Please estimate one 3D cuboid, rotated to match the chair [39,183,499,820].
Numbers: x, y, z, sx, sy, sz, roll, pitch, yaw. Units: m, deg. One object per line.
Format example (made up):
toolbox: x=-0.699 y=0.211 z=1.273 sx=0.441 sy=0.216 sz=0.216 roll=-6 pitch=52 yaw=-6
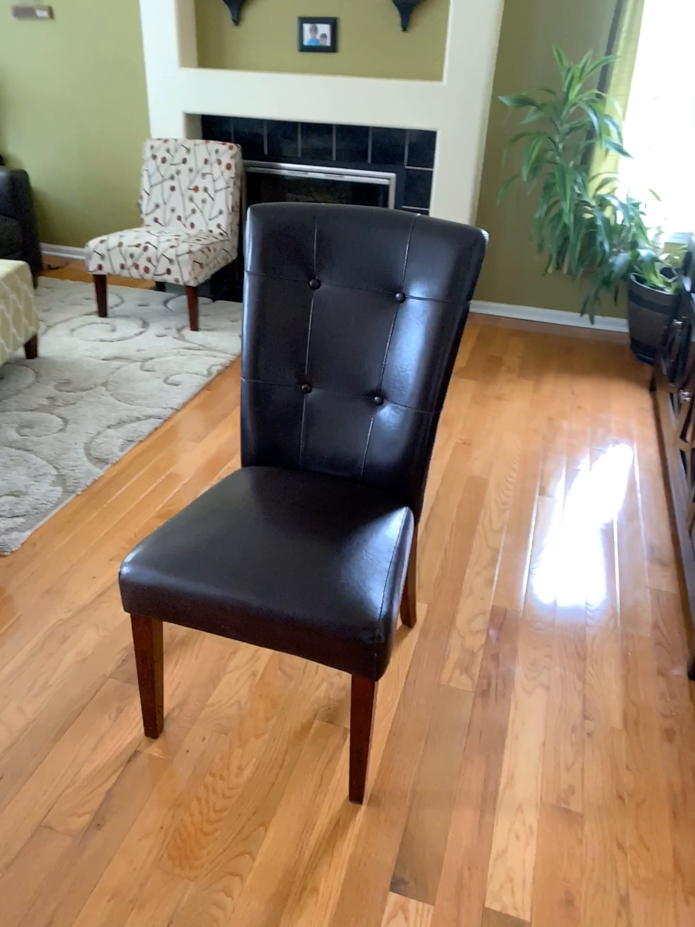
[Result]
chair: x=-0.078 y=0.022 z=1.452 sx=0.537 sy=0.977 sz=0.727 roll=11 pitch=31 yaw=14
